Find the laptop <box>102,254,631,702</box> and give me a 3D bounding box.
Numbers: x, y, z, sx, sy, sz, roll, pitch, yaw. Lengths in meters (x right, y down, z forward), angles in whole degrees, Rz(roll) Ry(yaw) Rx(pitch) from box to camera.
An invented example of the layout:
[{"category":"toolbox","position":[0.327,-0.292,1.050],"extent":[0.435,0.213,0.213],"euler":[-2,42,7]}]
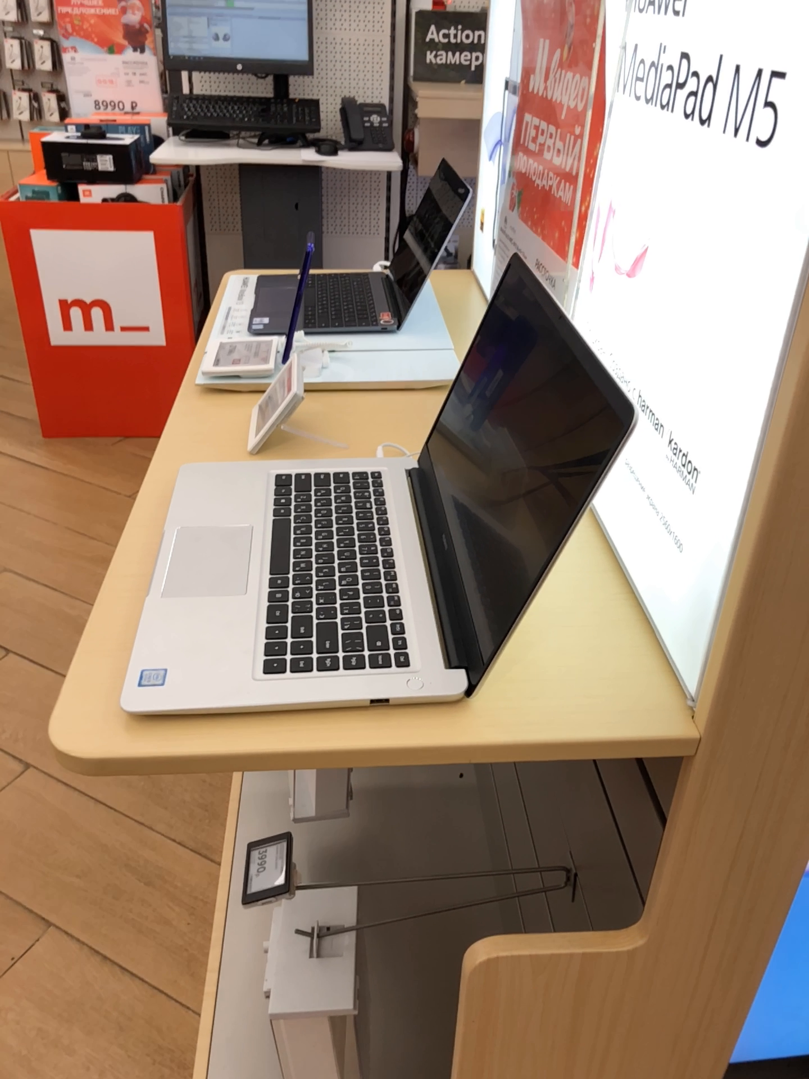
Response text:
[{"category":"laptop","position":[-0.039,-0.075,0.704],"extent":[0.305,0.204,0.342],"euler":[-2,33,-6]}]
